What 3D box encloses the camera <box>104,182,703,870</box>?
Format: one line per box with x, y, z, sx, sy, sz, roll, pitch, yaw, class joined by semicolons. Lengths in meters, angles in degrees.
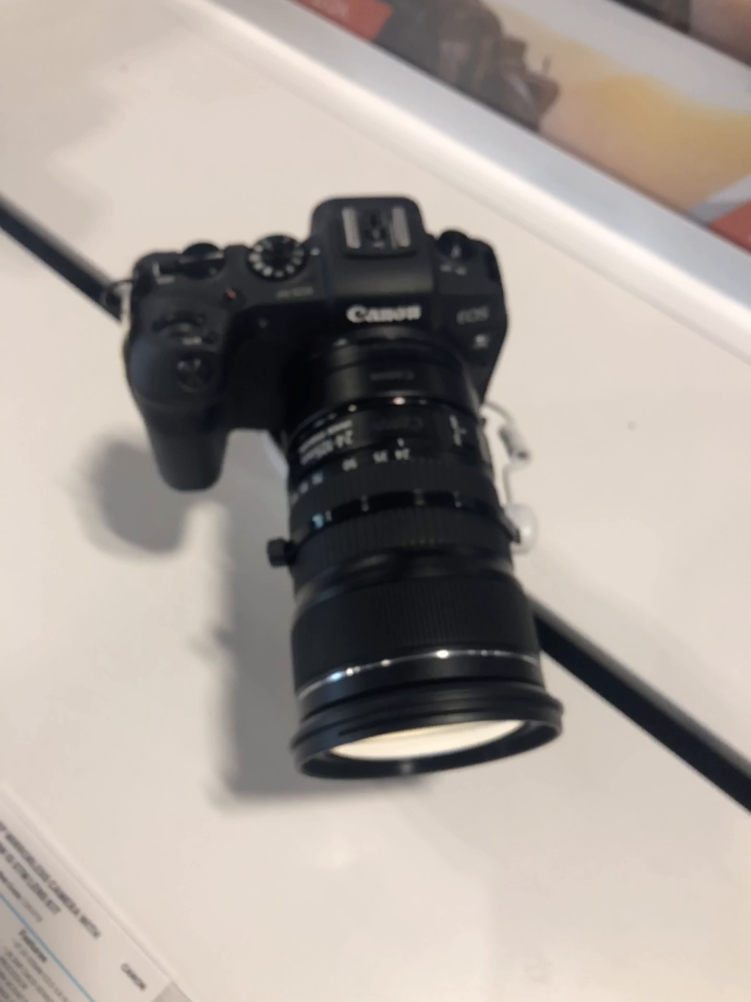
-0.009;0.000;0.275;0.136;0.090;0.191;-6;60;-9;camera
